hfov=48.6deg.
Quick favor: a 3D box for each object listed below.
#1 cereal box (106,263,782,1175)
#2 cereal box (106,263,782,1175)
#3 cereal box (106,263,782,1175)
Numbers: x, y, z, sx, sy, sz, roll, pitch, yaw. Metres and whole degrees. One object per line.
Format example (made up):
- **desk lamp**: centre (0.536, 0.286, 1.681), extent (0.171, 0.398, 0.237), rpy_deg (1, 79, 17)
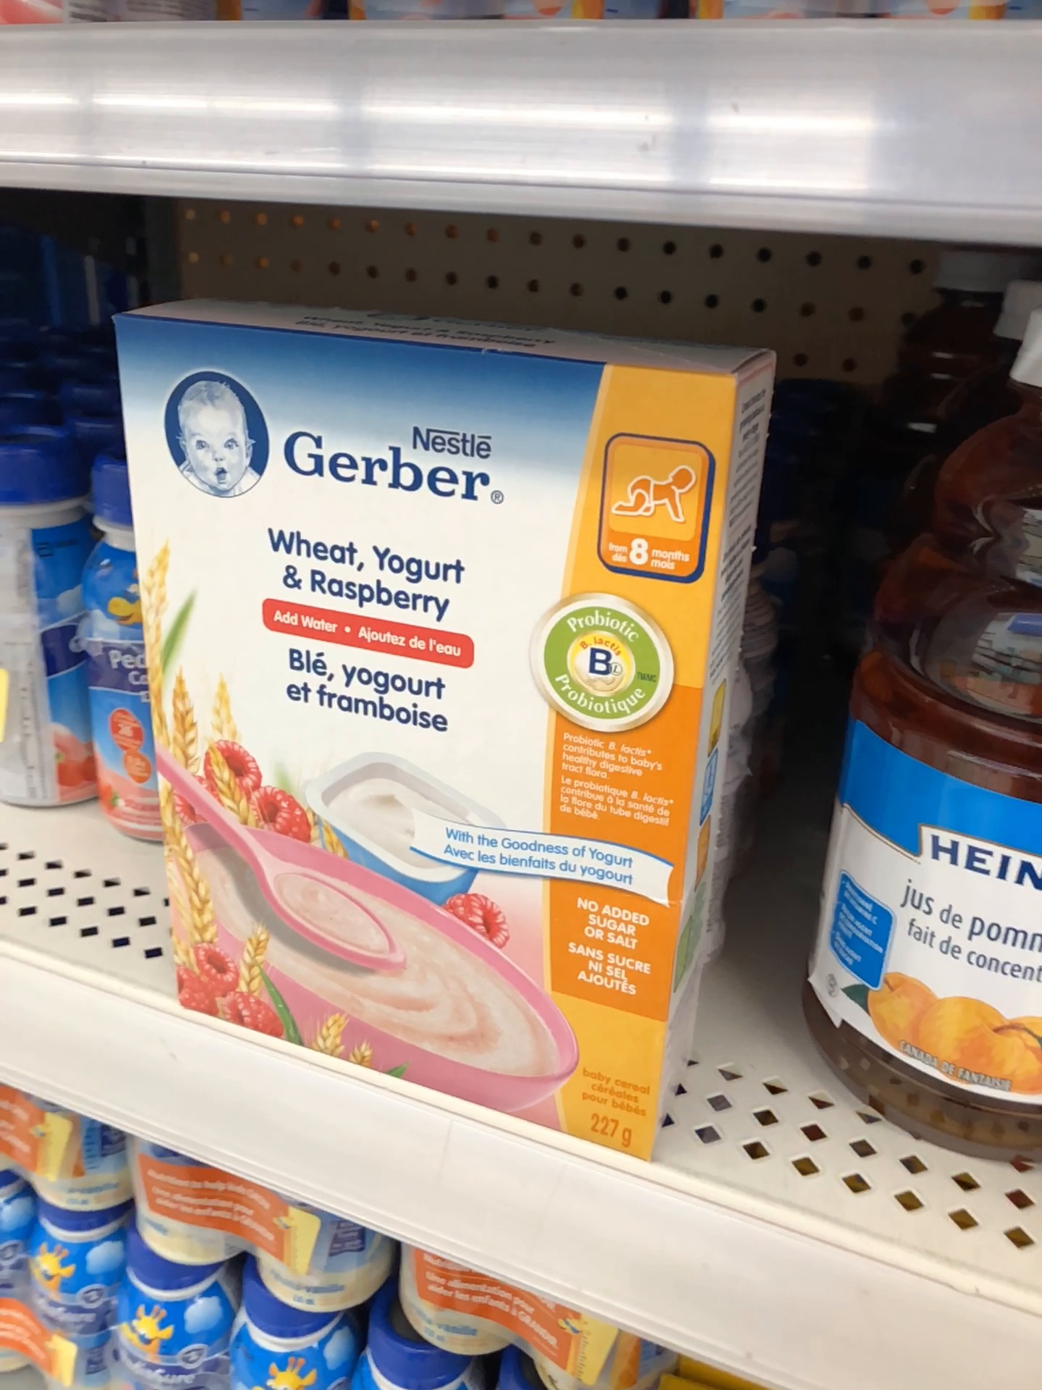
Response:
- **cereal box**: centre (-0.024, 0.003, 0.291), extent (0.140, 0.199, 0.050), rpy_deg (12, 24, 19)
- **cereal box**: centre (-0.024, 0.003, 0.291), extent (0.140, 0.199, 0.050), rpy_deg (12, 24, 19)
- **cereal box**: centre (-0.024, 0.003, 0.291), extent (0.140, 0.199, 0.050), rpy_deg (12, 24, 19)
